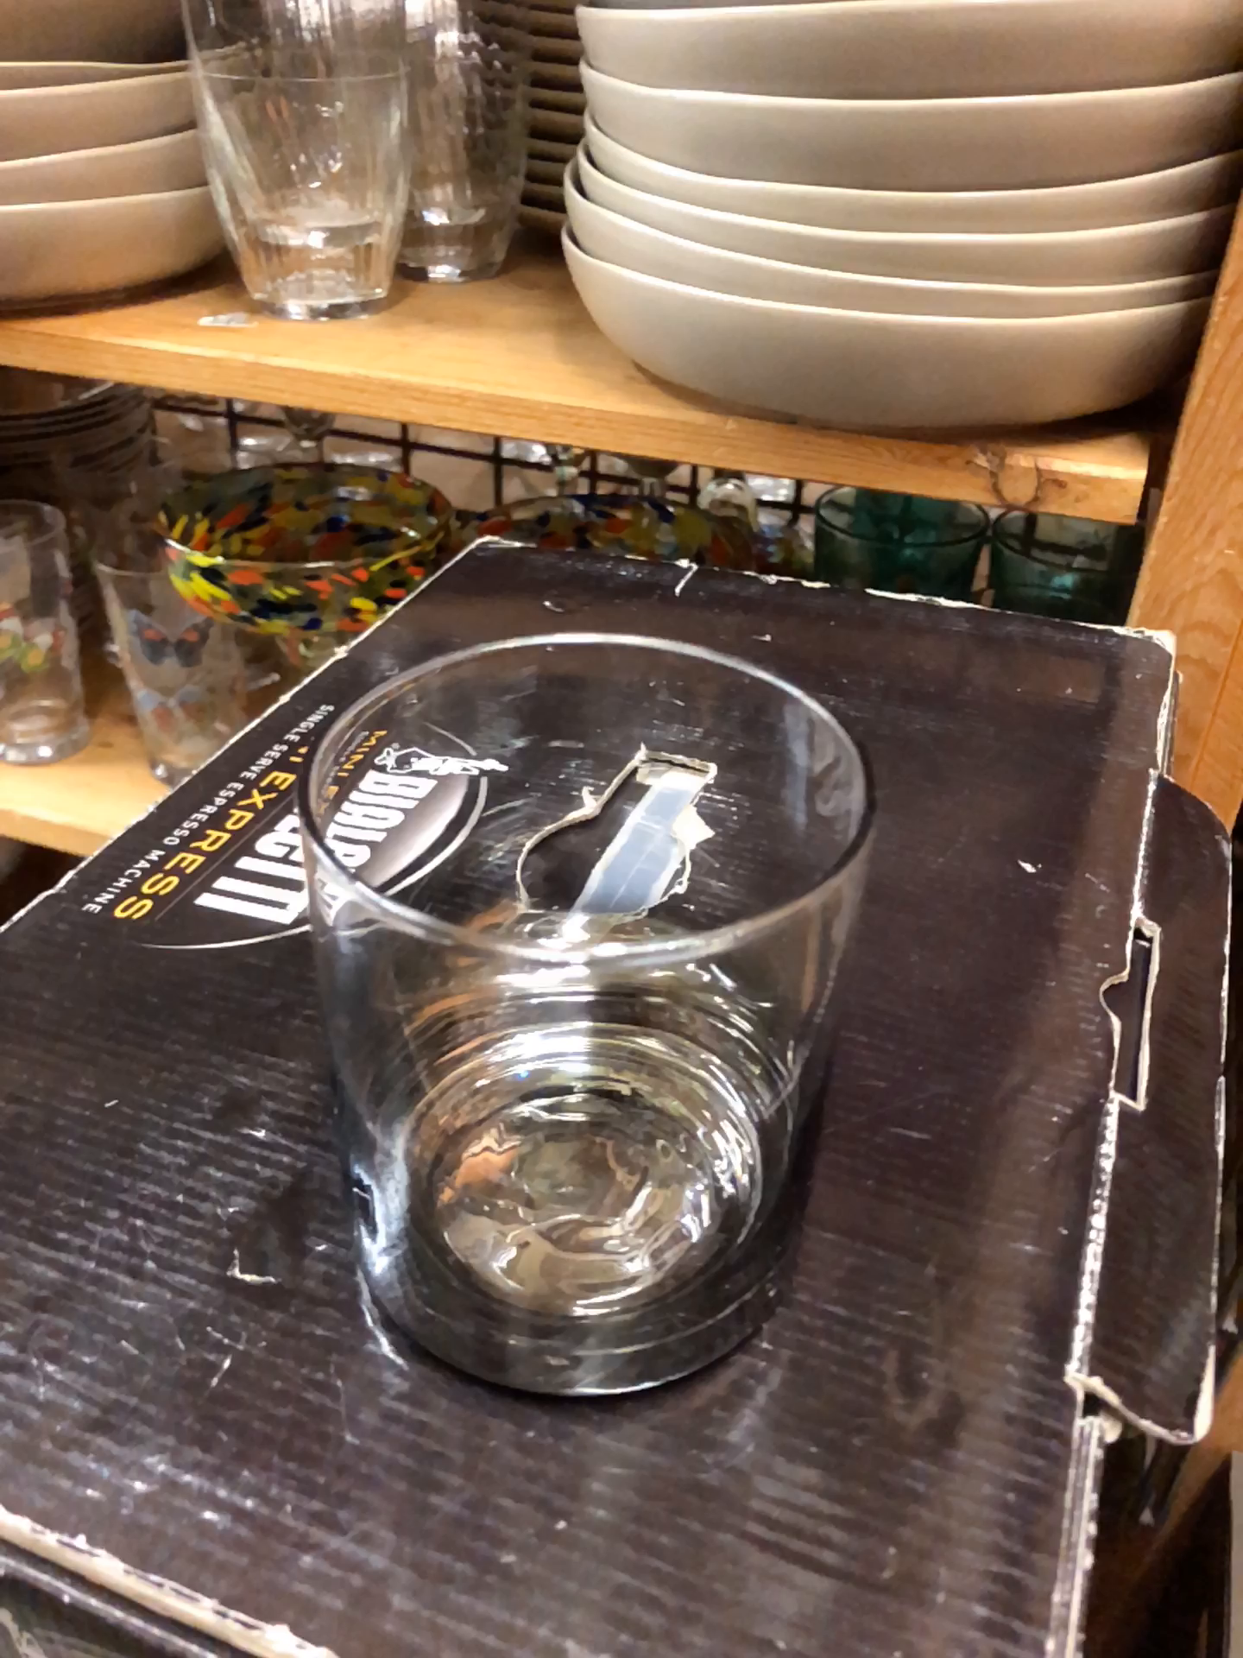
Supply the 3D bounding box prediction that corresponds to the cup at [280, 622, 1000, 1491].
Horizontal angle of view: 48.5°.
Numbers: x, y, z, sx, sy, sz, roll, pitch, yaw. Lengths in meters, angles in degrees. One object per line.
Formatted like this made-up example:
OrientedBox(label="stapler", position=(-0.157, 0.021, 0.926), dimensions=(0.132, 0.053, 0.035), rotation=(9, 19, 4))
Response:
OrientedBox(label="cup", position=(-0.006, 0.031, 0.224), dimensions=(0.085, 0.093, 0.090), rotation=(1, 34, -1))
